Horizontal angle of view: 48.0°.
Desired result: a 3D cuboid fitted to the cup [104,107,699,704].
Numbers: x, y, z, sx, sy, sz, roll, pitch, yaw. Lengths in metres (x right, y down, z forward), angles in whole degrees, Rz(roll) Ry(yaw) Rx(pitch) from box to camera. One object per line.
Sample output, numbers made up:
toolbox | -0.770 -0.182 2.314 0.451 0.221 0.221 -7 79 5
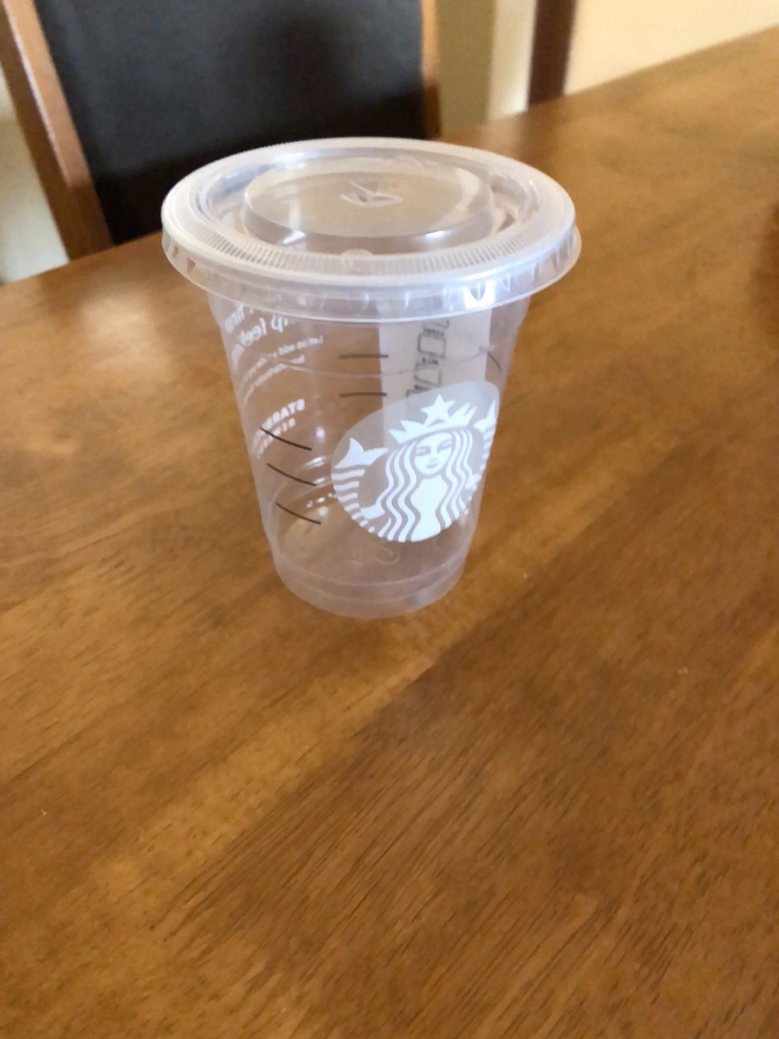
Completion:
cup | -0.003 -0.035 0.221 0.100 0.100 0.090 -16 41 -19
